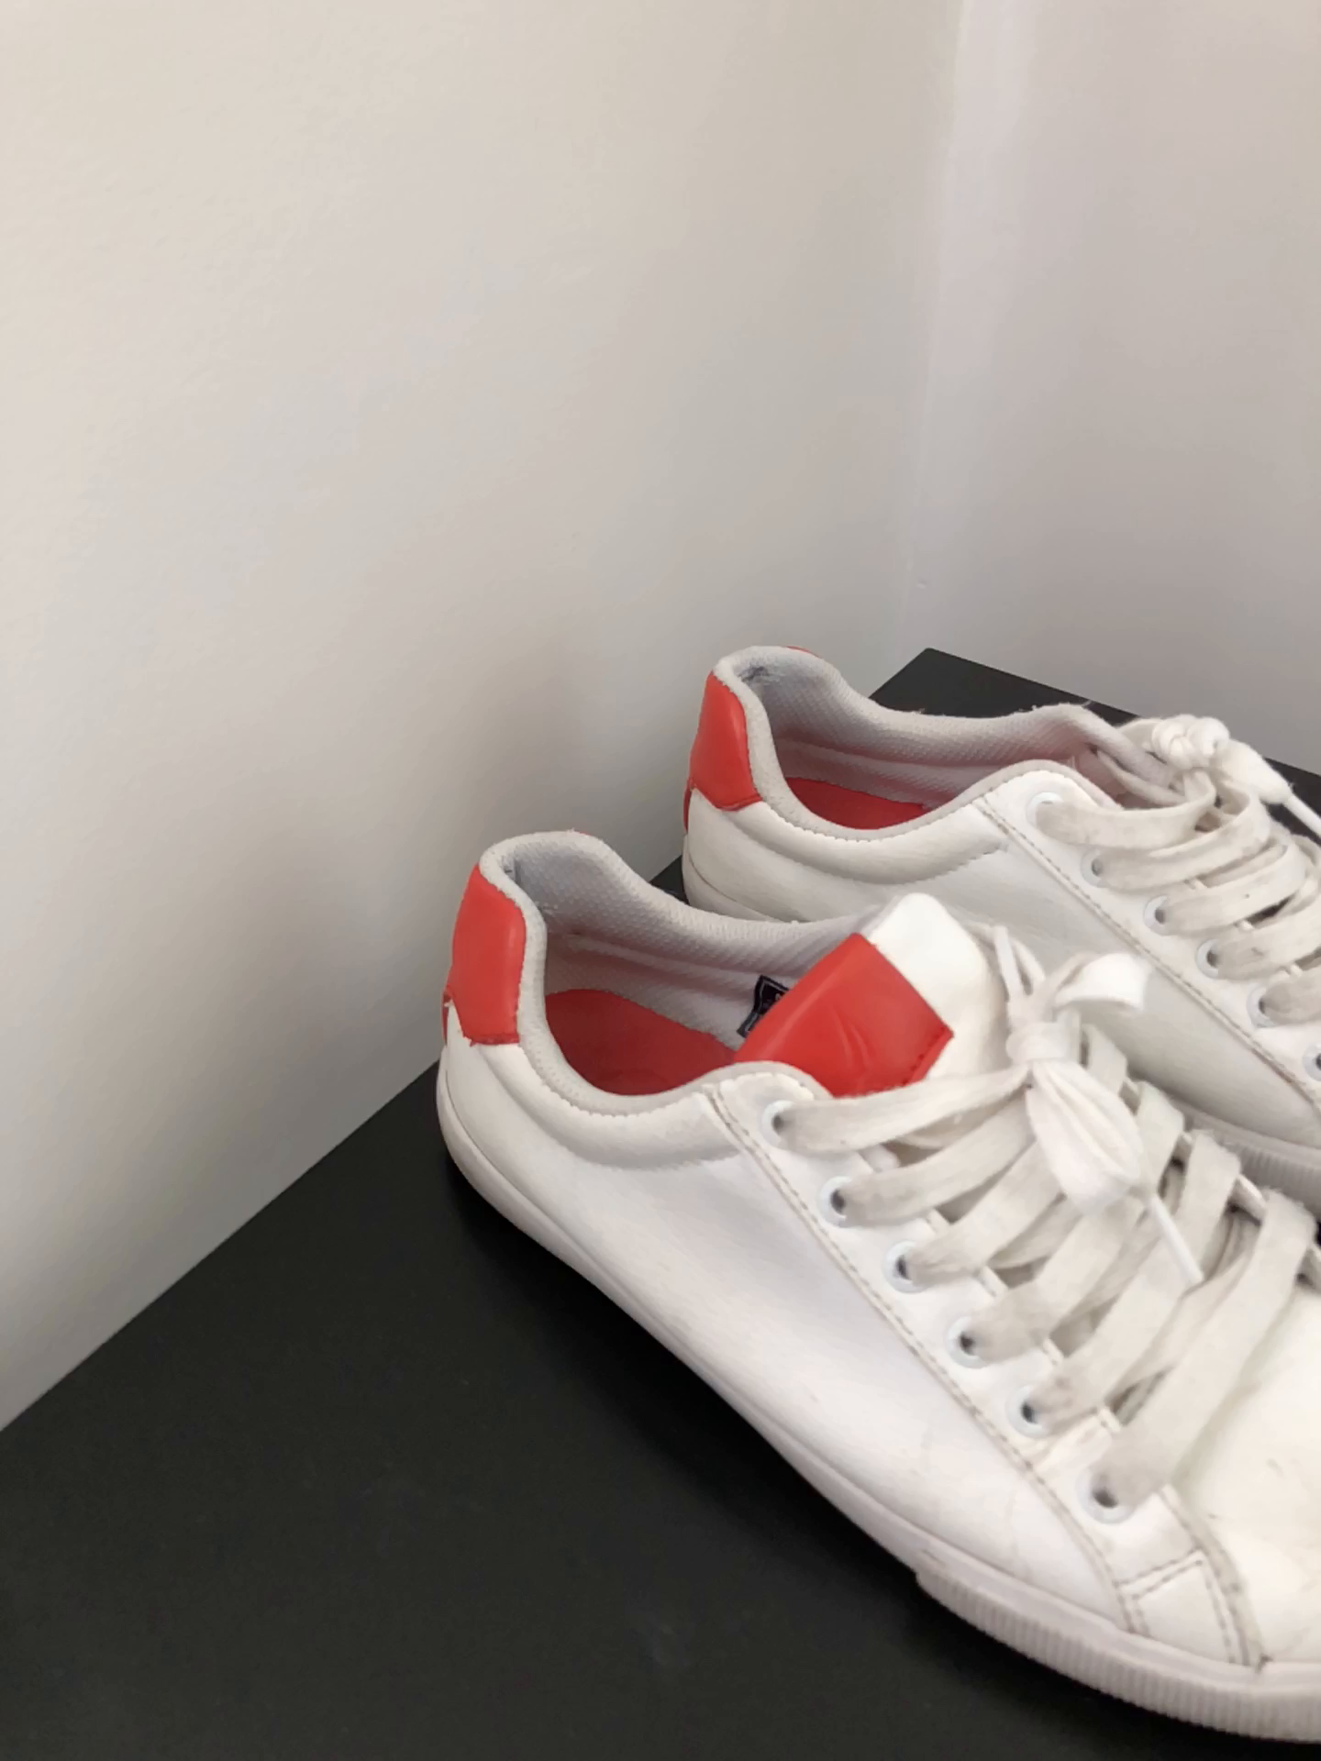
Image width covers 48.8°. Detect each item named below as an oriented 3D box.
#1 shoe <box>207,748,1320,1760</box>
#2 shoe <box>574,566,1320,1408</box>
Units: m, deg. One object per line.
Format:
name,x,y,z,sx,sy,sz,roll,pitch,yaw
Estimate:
shoe,0.047,0.067,0.265,0.236,0.080,0.102,21,42,25
shoe,0.104,0.008,0.344,0.231,0.080,0.100,21,42,25
